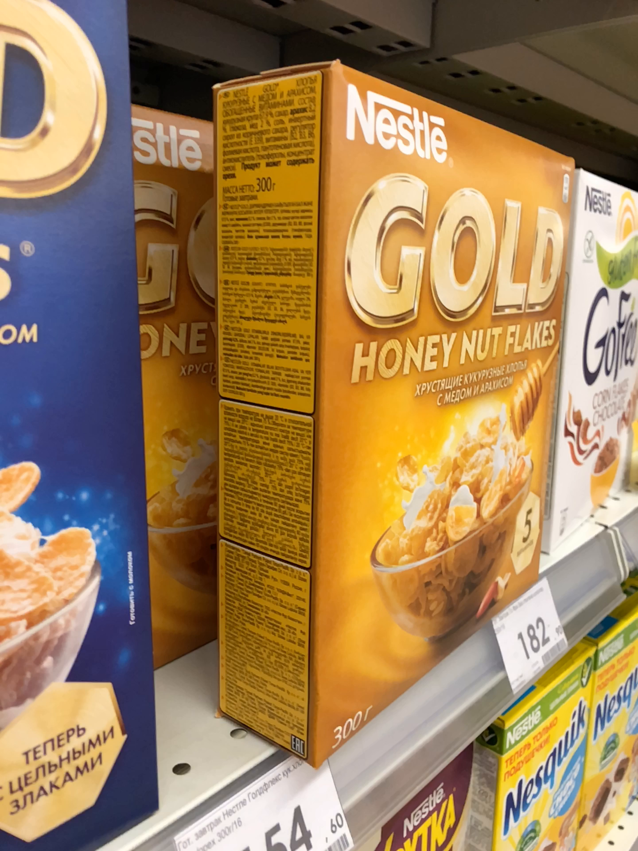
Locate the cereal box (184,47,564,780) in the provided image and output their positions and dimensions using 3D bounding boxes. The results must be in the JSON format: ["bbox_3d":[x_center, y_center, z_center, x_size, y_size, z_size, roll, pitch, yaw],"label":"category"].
[{"bbox_3d":[0.036,-0.011,0.297,0.050,0.219,0.191,9,14,37],"label":"cereal box"}]
